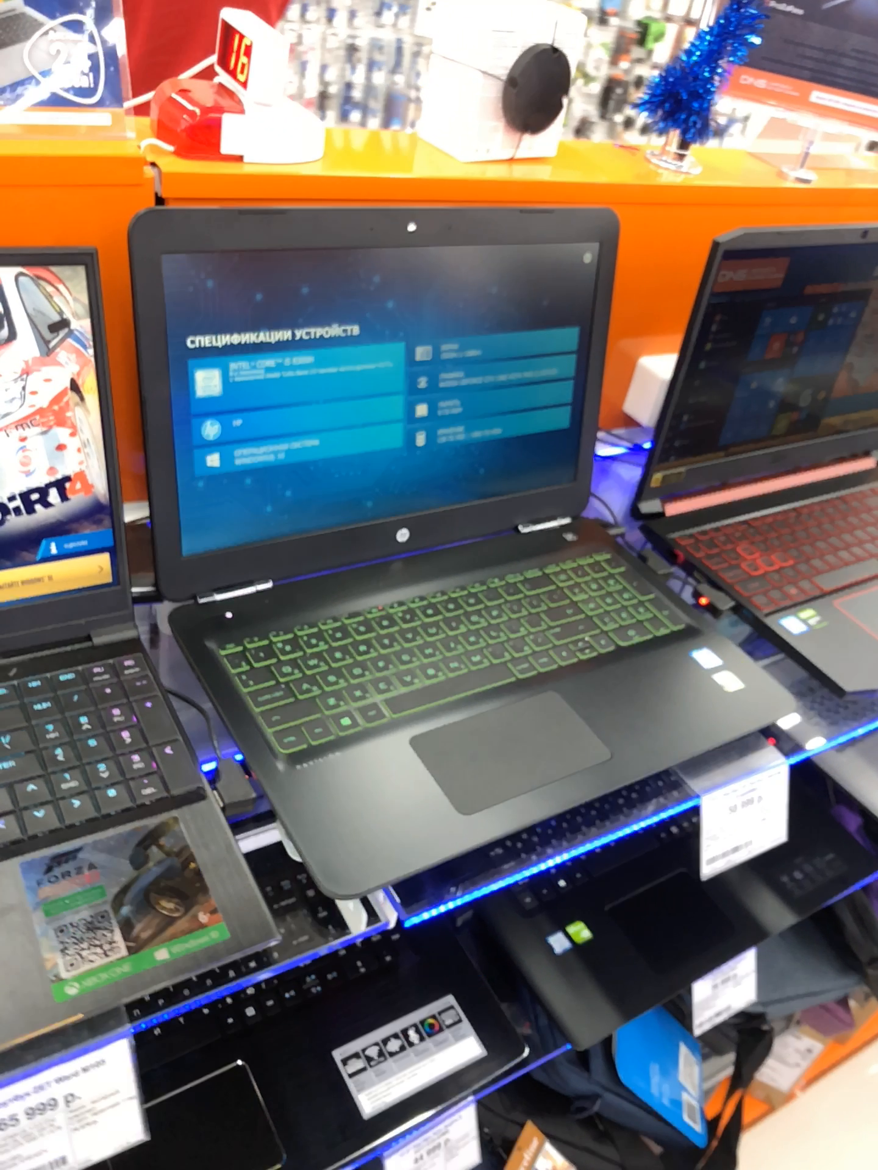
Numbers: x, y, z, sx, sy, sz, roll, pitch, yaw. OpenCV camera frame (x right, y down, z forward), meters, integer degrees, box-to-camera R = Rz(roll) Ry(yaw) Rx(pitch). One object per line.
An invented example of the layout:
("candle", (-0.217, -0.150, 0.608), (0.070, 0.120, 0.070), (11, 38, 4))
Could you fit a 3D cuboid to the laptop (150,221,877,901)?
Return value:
("laptop", (0.048, -0.059, 0.622), (0.358, 0.235, 0.312), (-13, 43, -32))
